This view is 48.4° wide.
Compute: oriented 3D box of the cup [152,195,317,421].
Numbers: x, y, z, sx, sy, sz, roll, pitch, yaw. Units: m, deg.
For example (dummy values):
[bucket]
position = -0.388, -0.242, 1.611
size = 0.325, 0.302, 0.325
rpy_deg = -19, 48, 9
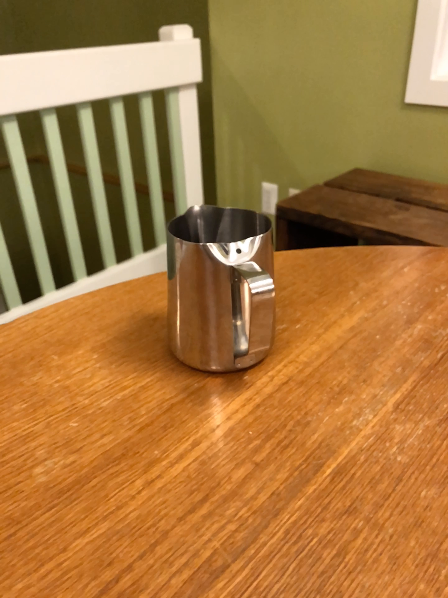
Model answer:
[cup]
position = 0.002, -0.002, 0.395
size = 0.082, 0.114, 0.136
rpy_deg = -11, 31, -14
